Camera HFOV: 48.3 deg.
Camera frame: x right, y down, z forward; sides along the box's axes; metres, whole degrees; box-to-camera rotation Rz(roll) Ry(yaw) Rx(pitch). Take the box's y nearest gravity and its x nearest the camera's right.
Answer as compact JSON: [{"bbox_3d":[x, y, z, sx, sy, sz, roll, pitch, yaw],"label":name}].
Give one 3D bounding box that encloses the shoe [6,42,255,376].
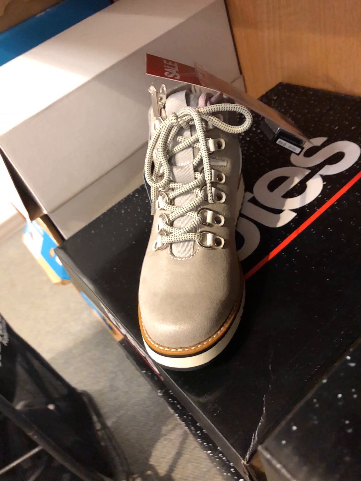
[{"bbox_3d":[-0.008,-0.033,0.321,0.099,0.134,0.229,-5,45,20],"label":"shoe"}]
